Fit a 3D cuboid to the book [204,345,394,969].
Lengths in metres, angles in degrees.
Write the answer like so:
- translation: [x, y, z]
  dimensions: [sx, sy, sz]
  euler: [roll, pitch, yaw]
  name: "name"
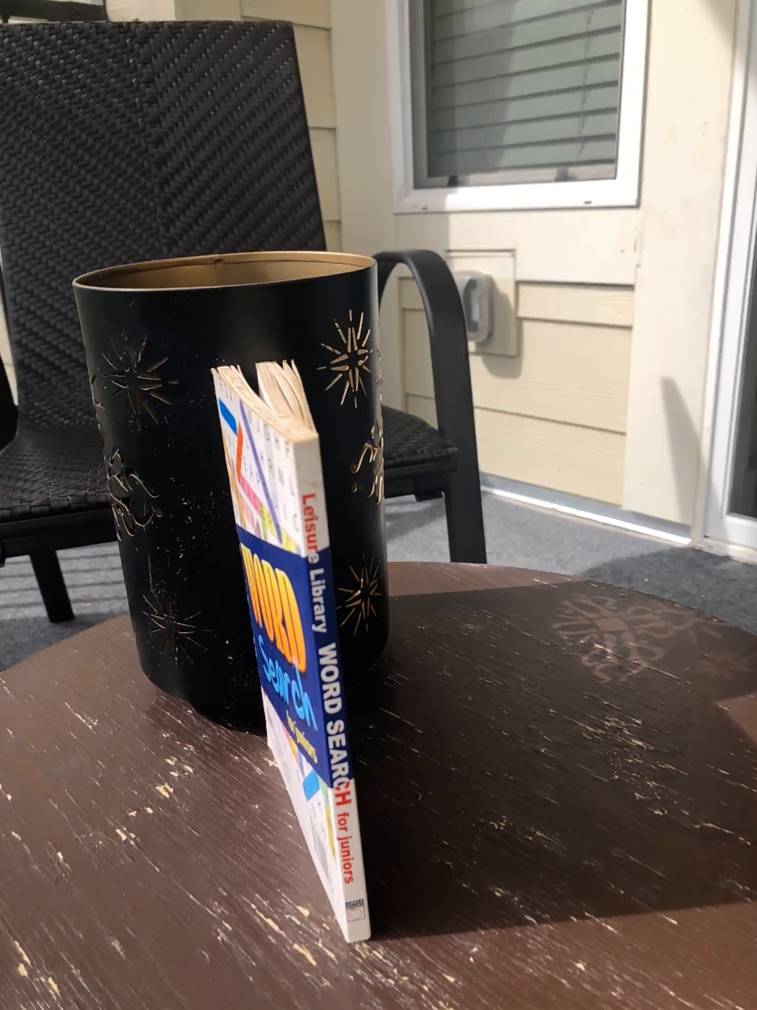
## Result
- translation: [-0.031, 0.043, 0.301]
  dimensions: [0.031, 0.179, 0.125]
  euler: [-9, 19, -8]
  name: "book"
